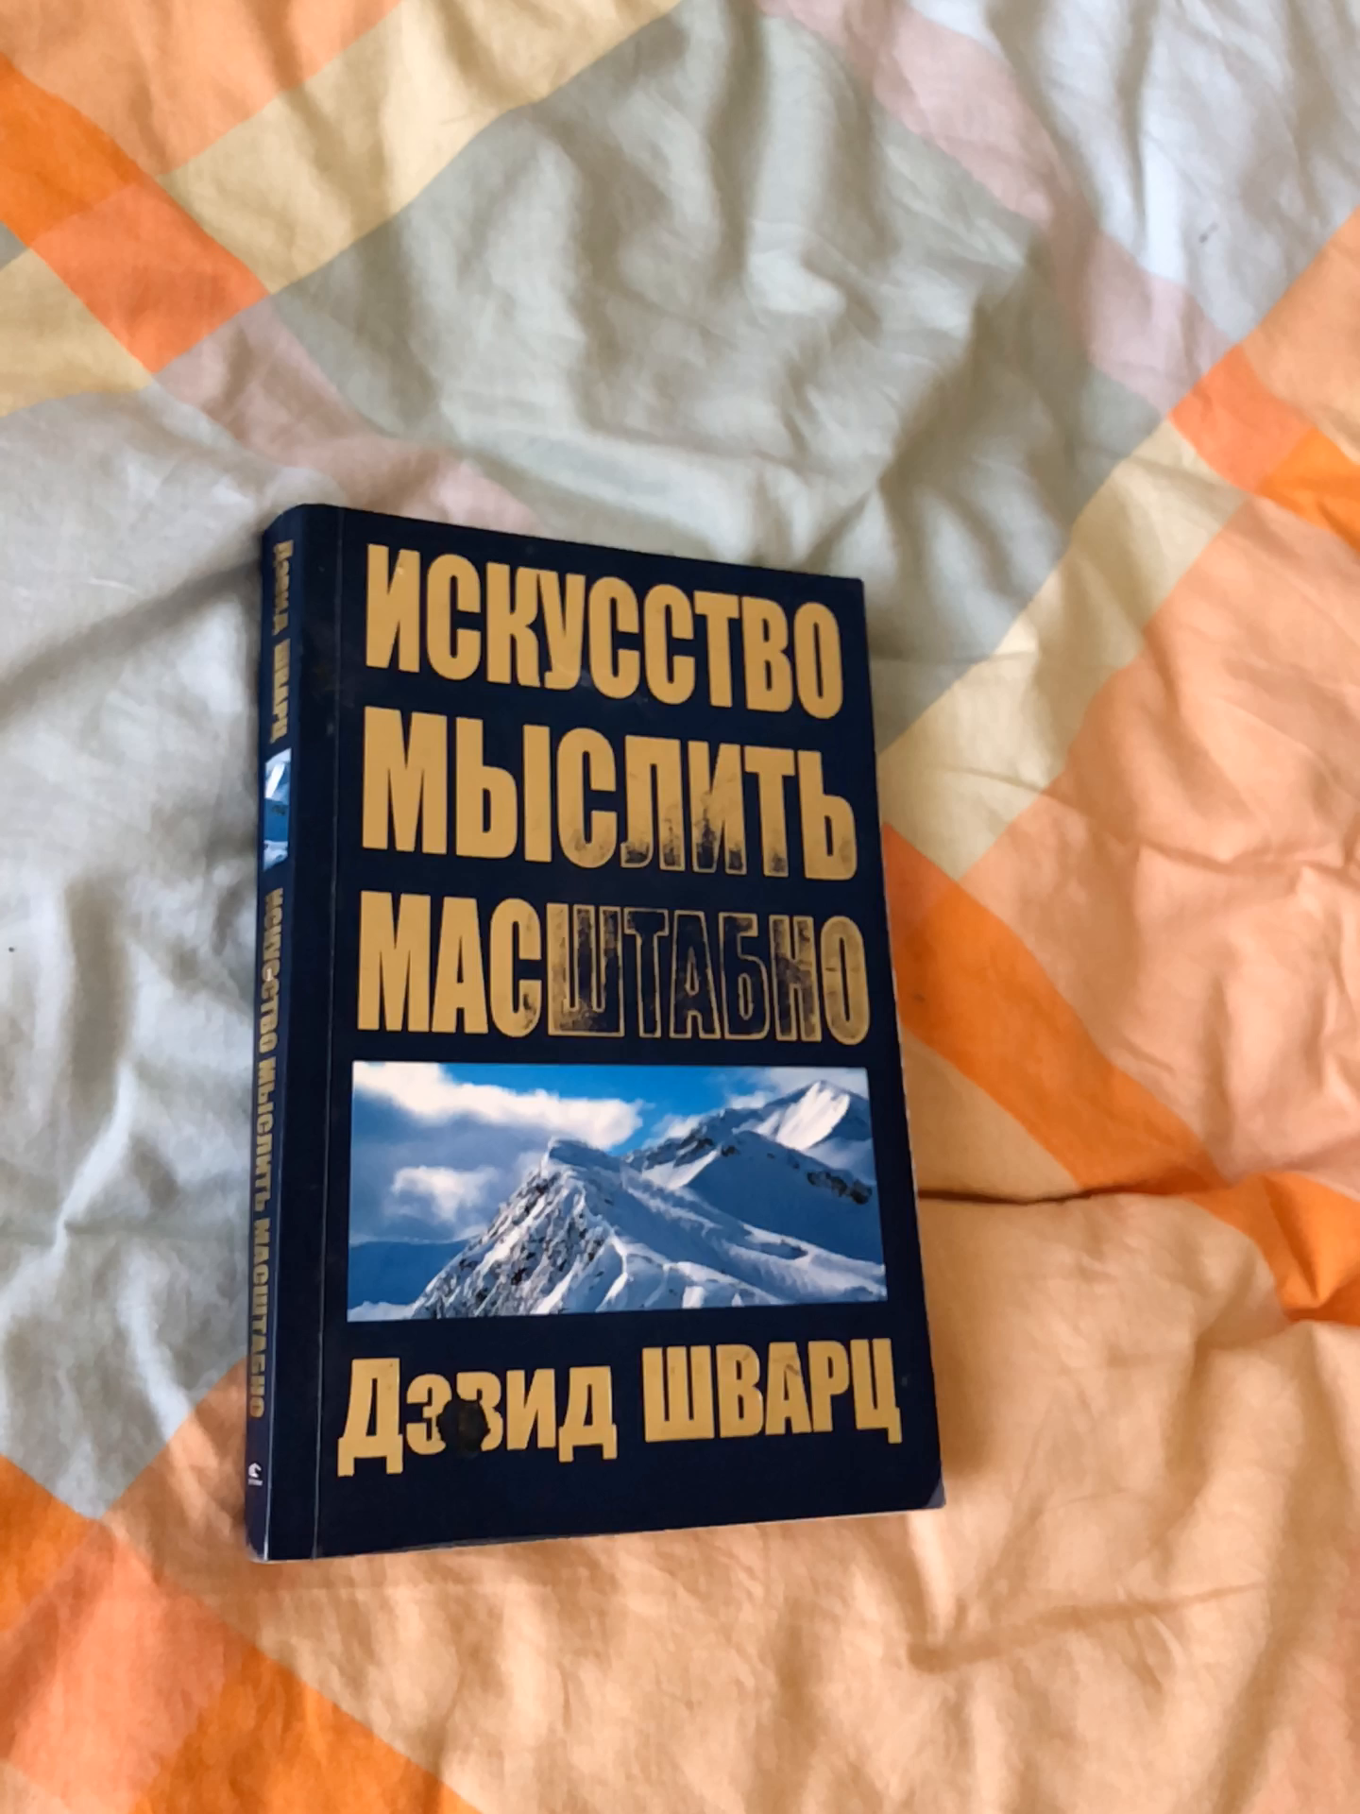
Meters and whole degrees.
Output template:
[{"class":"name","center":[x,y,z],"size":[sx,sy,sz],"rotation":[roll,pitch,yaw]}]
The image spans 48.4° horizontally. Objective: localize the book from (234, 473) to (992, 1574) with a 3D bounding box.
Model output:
[{"class":"book","center":[-0.013,0.017,0.287],"size":[0.127,0.028,0.189],"rotation":[4,72,-19]}]
